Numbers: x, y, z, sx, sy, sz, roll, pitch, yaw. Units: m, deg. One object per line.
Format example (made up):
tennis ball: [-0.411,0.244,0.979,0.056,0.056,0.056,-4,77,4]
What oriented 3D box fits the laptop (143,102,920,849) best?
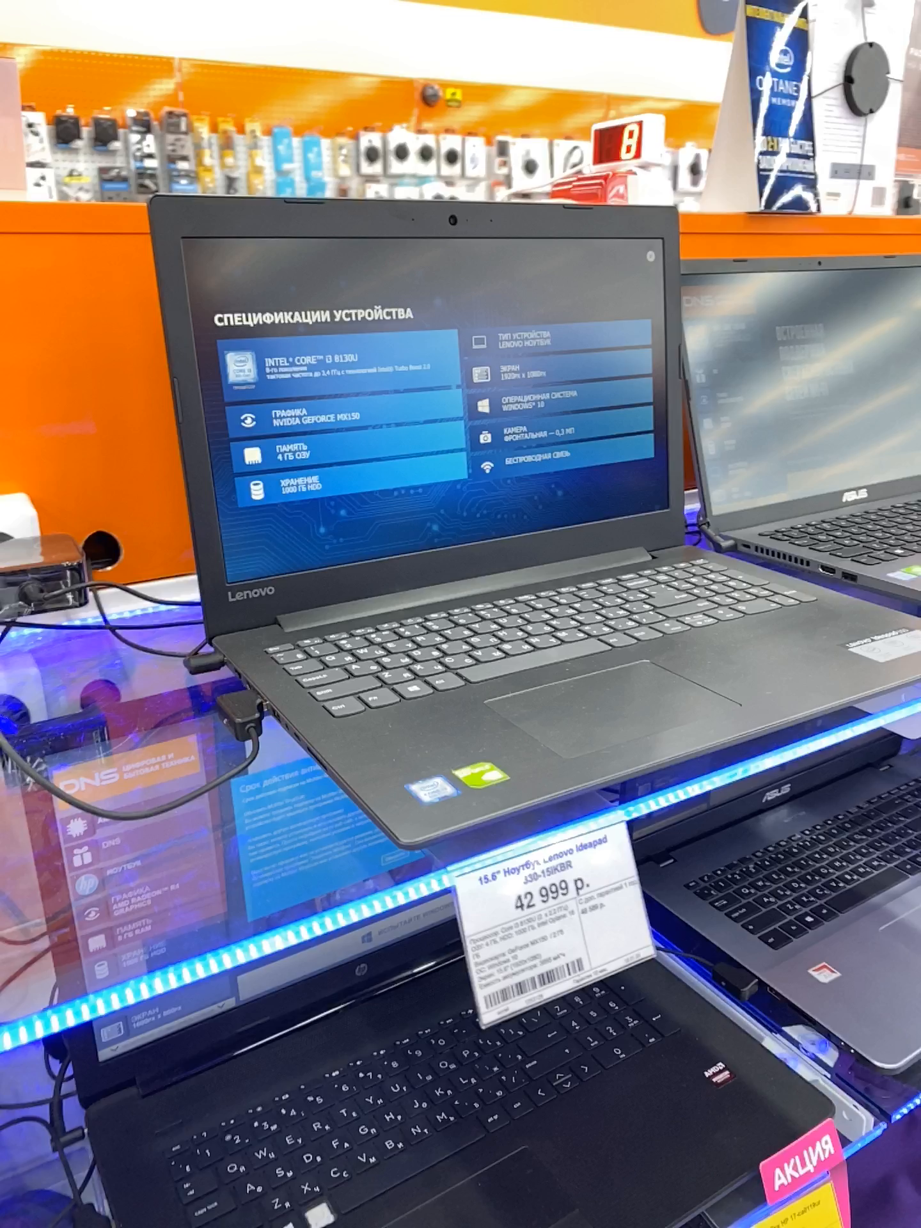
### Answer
laptop: [0.067,-0.103,0.516,0.377,0.244,0.290,-11,21,-28]

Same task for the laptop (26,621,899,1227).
laptop: [0.000,0.194,0.568,0.400,0.263,0.272,-12,20,-31]
